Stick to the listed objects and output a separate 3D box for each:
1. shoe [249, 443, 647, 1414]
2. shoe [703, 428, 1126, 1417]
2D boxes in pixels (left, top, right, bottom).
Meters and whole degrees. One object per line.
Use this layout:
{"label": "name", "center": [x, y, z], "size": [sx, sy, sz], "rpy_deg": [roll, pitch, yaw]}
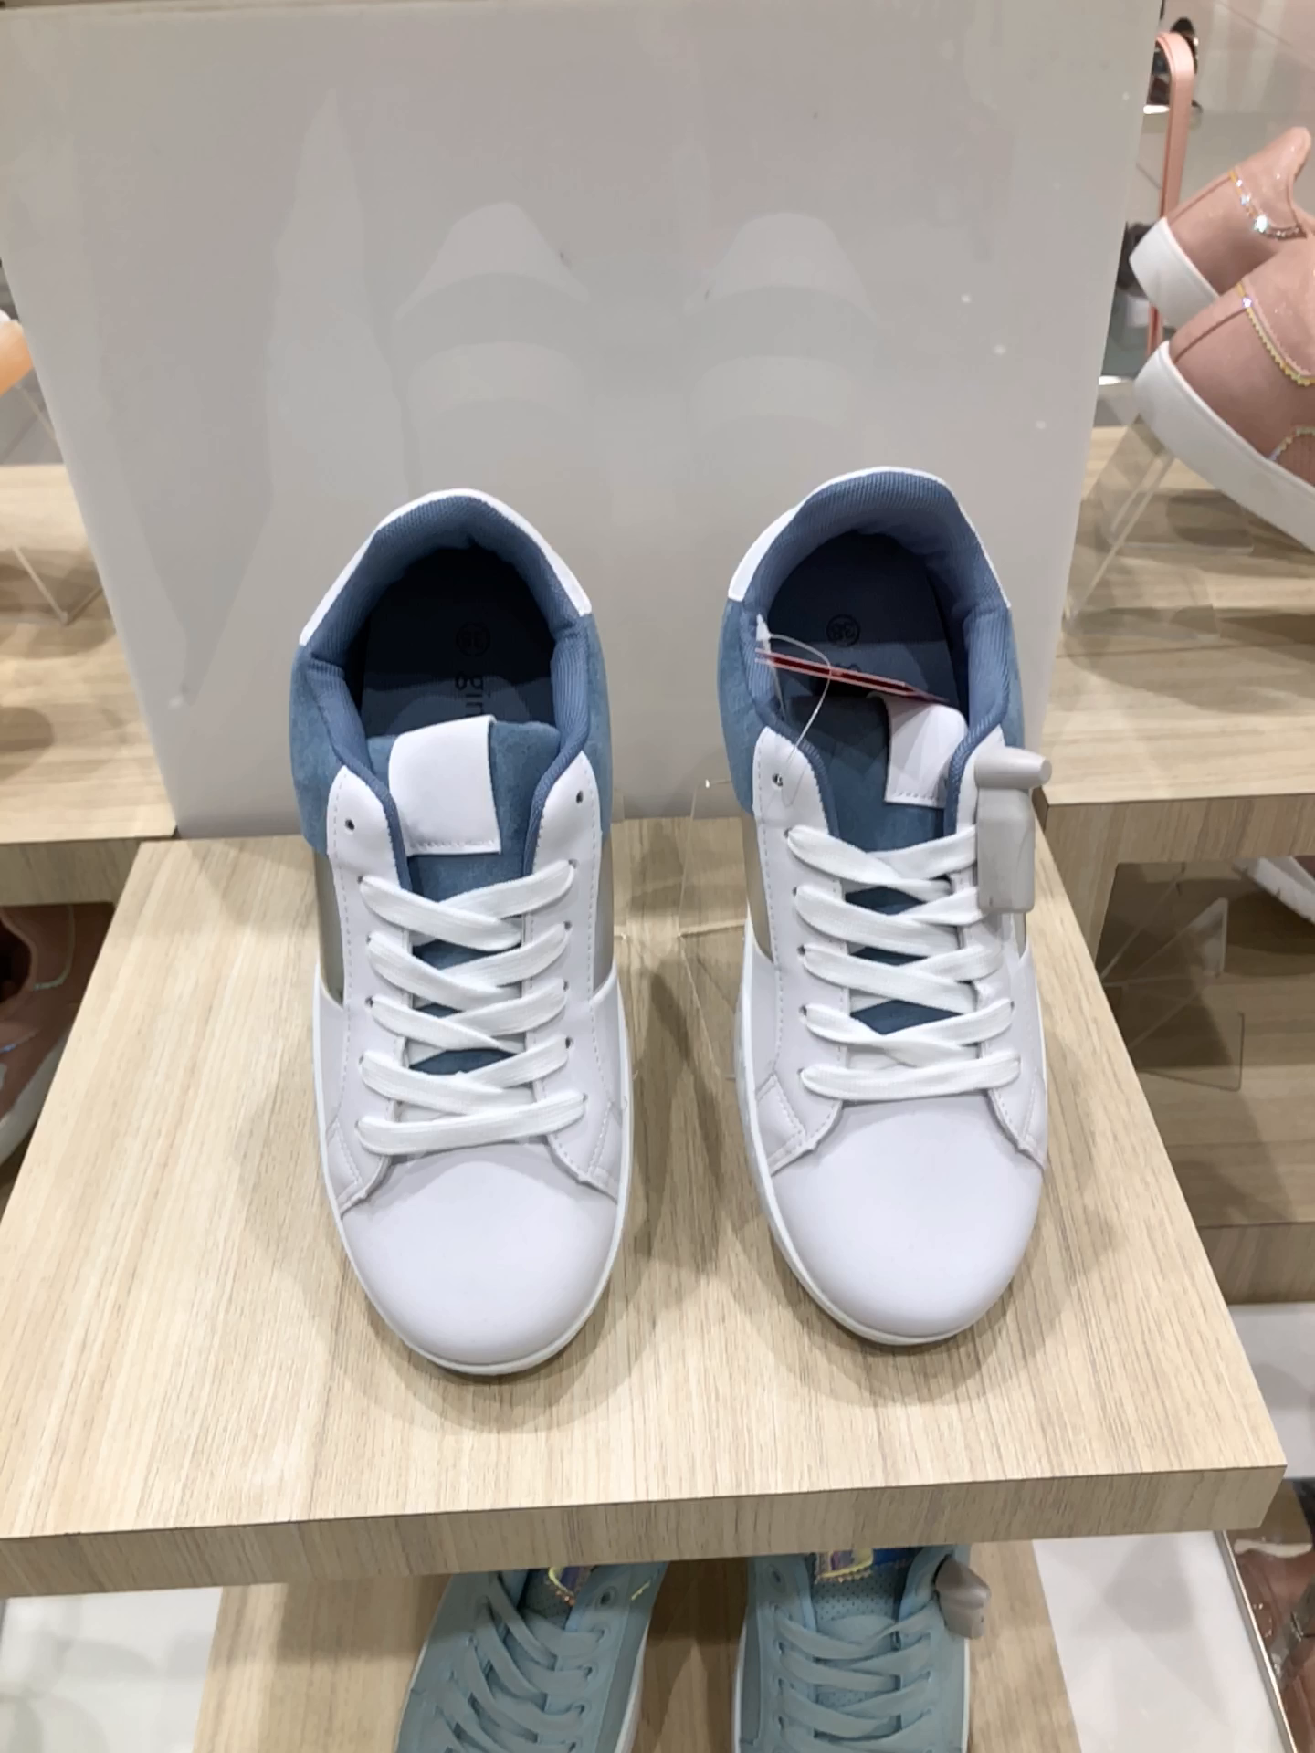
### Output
{"label": "shoe", "center": [-0.058, 0.013, 0.440], "size": [0.100, 0.260, 0.090], "rpy_deg": [-2, -1, 0]}
{"label": "shoe", "center": [0.070, 0.012, 0.433], "size": [0.100, 0.260, 0.090], "rpy_deg": [-2, -1, 0]}
